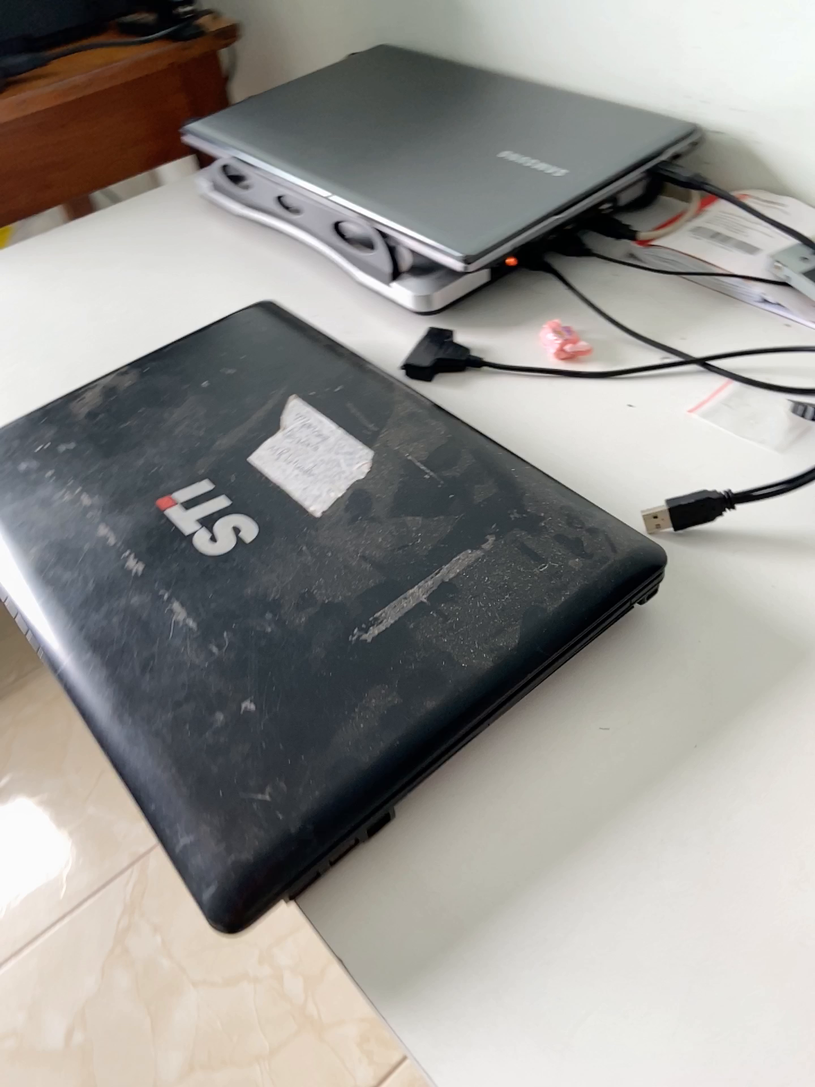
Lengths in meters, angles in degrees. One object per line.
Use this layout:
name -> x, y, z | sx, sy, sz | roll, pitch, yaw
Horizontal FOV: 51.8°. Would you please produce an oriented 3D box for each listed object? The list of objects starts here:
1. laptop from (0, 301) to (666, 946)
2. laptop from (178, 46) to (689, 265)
laptop -> -0.081, -0.011, 0.428 | 0.230, 0.011, 0.338 | -35, 51, -21
laptop -> 0.007, -0.325, 0.663 | 0.228, 0.006, 0.344 | -37, 54, -24
